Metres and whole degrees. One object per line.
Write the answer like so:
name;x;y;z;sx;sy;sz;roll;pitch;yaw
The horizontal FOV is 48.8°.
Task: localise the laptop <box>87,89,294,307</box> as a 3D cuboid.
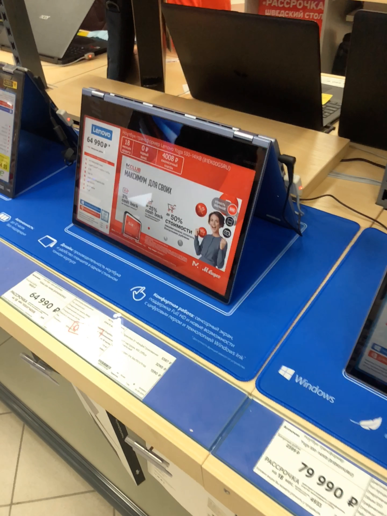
laptop;0.011;-0.080;0.754;0.306;0.157;0.221;24;12;26
